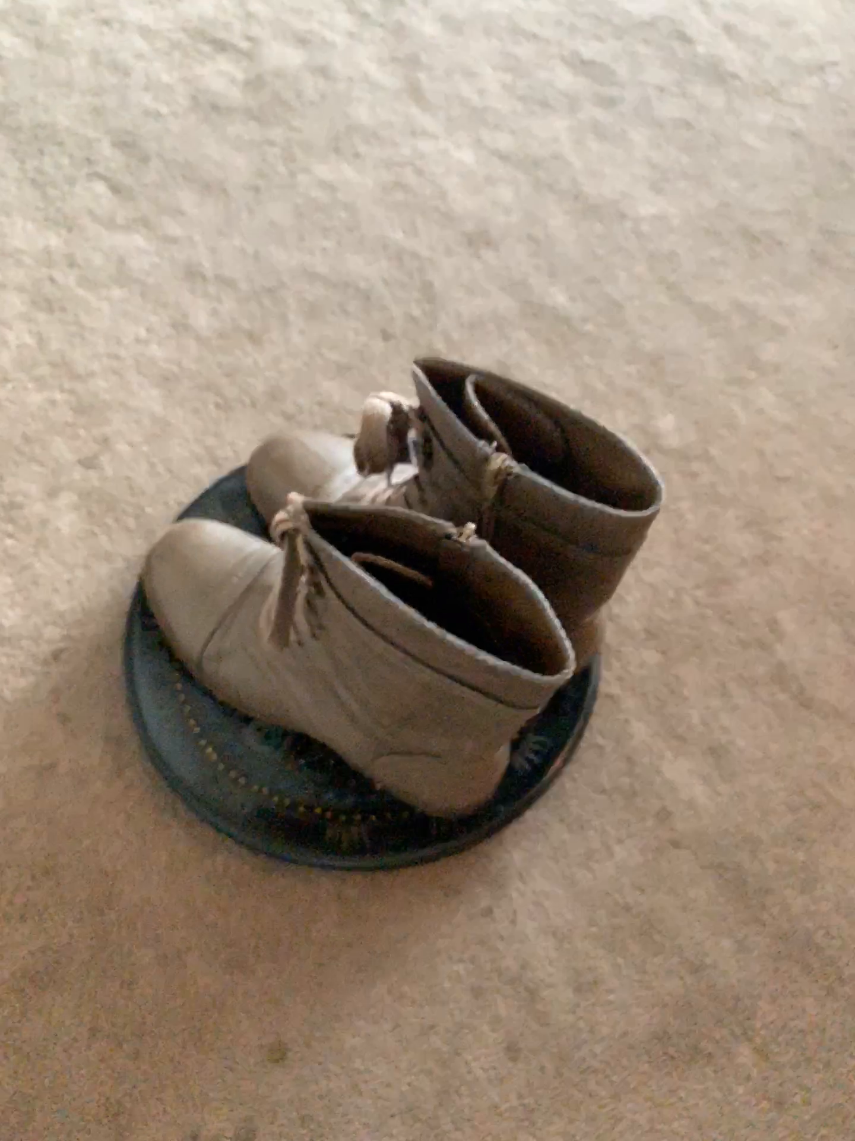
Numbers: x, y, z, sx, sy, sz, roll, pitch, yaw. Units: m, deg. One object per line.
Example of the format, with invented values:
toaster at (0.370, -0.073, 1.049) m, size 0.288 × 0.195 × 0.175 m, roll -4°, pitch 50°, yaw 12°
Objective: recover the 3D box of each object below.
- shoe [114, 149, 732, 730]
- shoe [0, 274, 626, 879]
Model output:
shoe at (-0.010, -0.060, 0.488) m, size 0.270 × 0.199 × 0.100 m, roll 34°, pitch 67°, yaw 14°
shoe at (-0.065, 0.016, 0.451) m, size 0.270 × 0.199 × 0.100 m, roll 34°, pitch 67°, yaw 14°
